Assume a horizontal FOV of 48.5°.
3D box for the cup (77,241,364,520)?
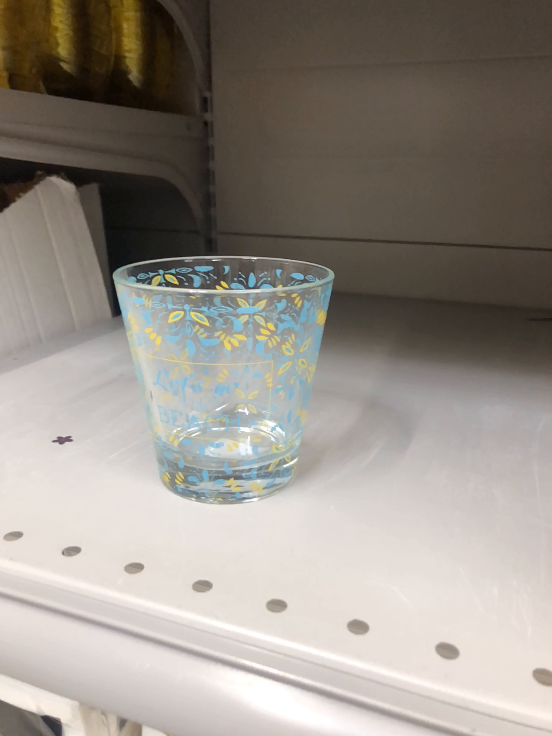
[{"bbox_3d":[-0.014,-0.003,0.248,0.088,0.080,0.084,0,21,0],"label":"cup"}]
